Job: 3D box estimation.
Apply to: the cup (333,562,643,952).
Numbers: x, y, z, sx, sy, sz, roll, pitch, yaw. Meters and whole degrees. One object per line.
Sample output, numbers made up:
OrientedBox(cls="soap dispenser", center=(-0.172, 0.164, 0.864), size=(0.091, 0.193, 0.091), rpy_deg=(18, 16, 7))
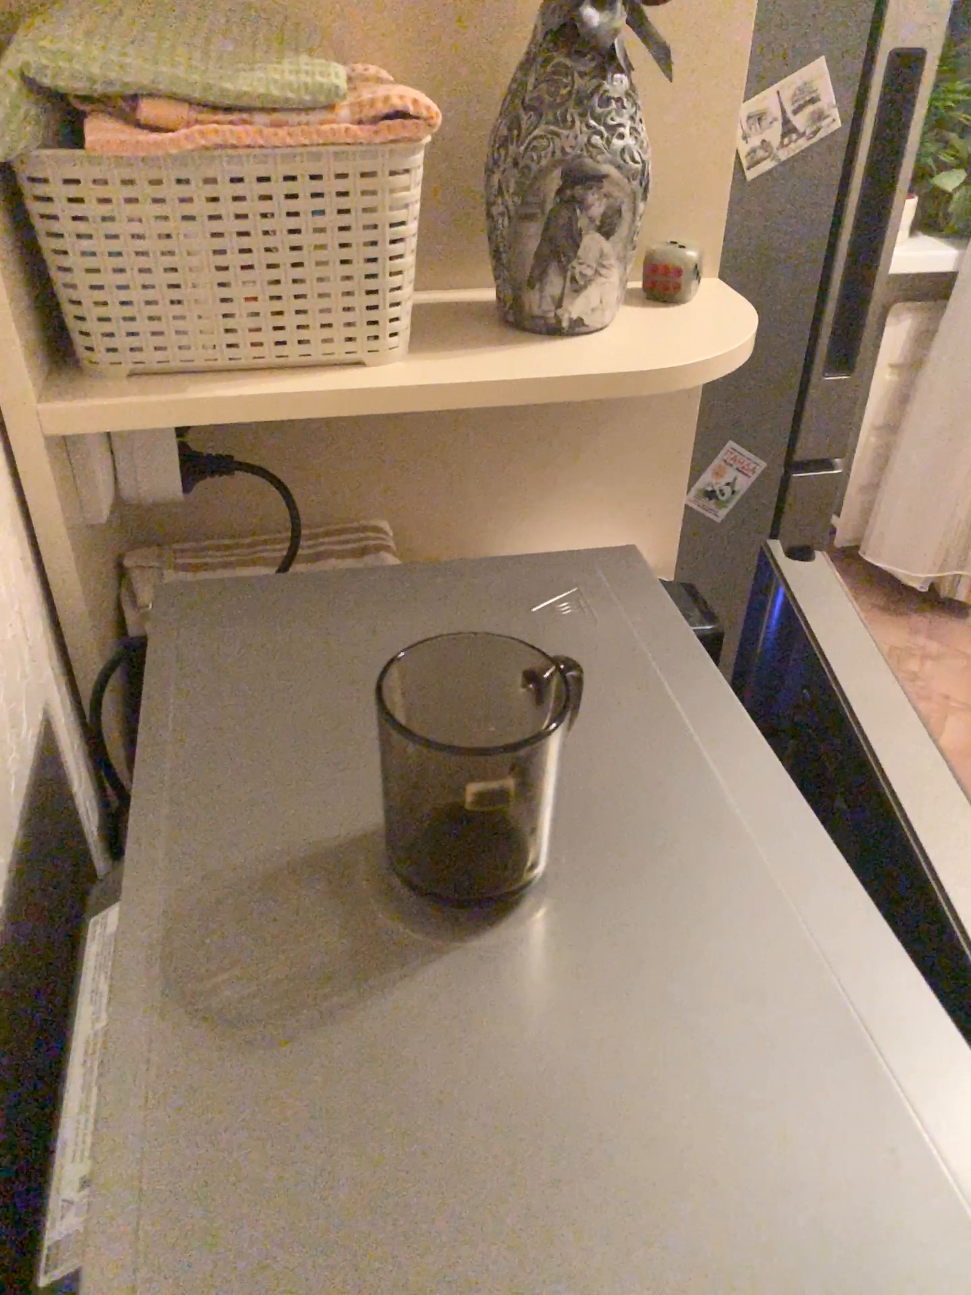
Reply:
OrientedBox(cls="cup", center=(0.003, 0.039, 0.397), size=(0.078, 0.094, 0.102), rpy_deg=(18, 38, 22))
